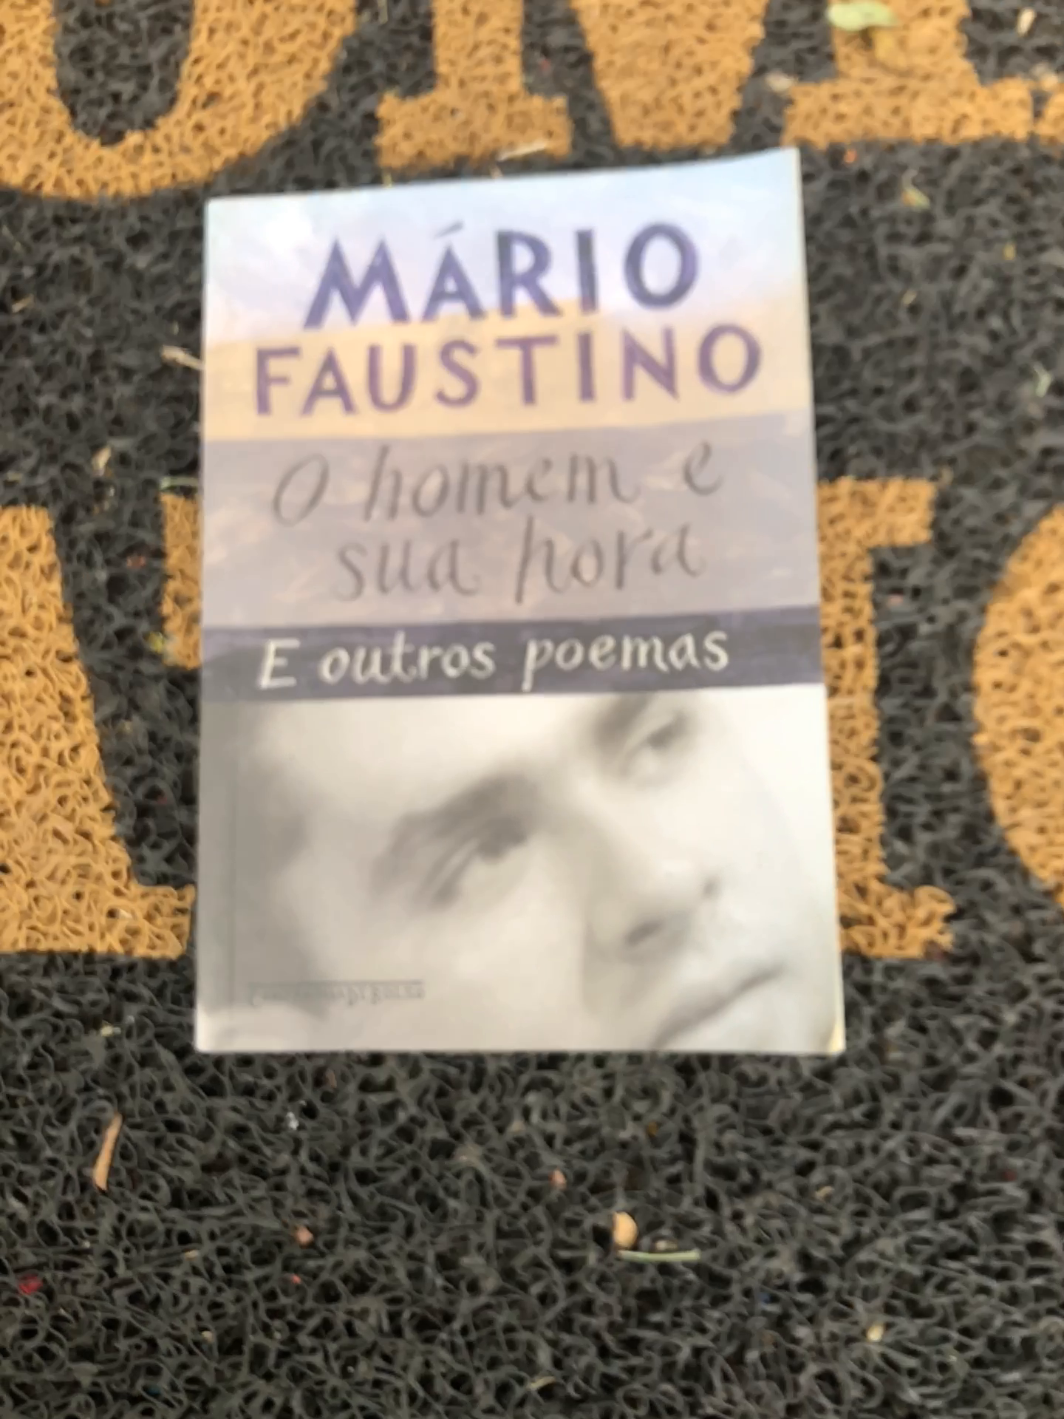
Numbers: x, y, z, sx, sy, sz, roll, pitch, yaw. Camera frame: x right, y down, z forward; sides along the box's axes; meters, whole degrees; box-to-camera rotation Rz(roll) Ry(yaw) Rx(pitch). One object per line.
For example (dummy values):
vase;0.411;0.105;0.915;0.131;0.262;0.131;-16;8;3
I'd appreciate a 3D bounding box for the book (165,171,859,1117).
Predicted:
book;-0.005;-0.013;0.235;0.124;0.020;0.174;-1;83;6
